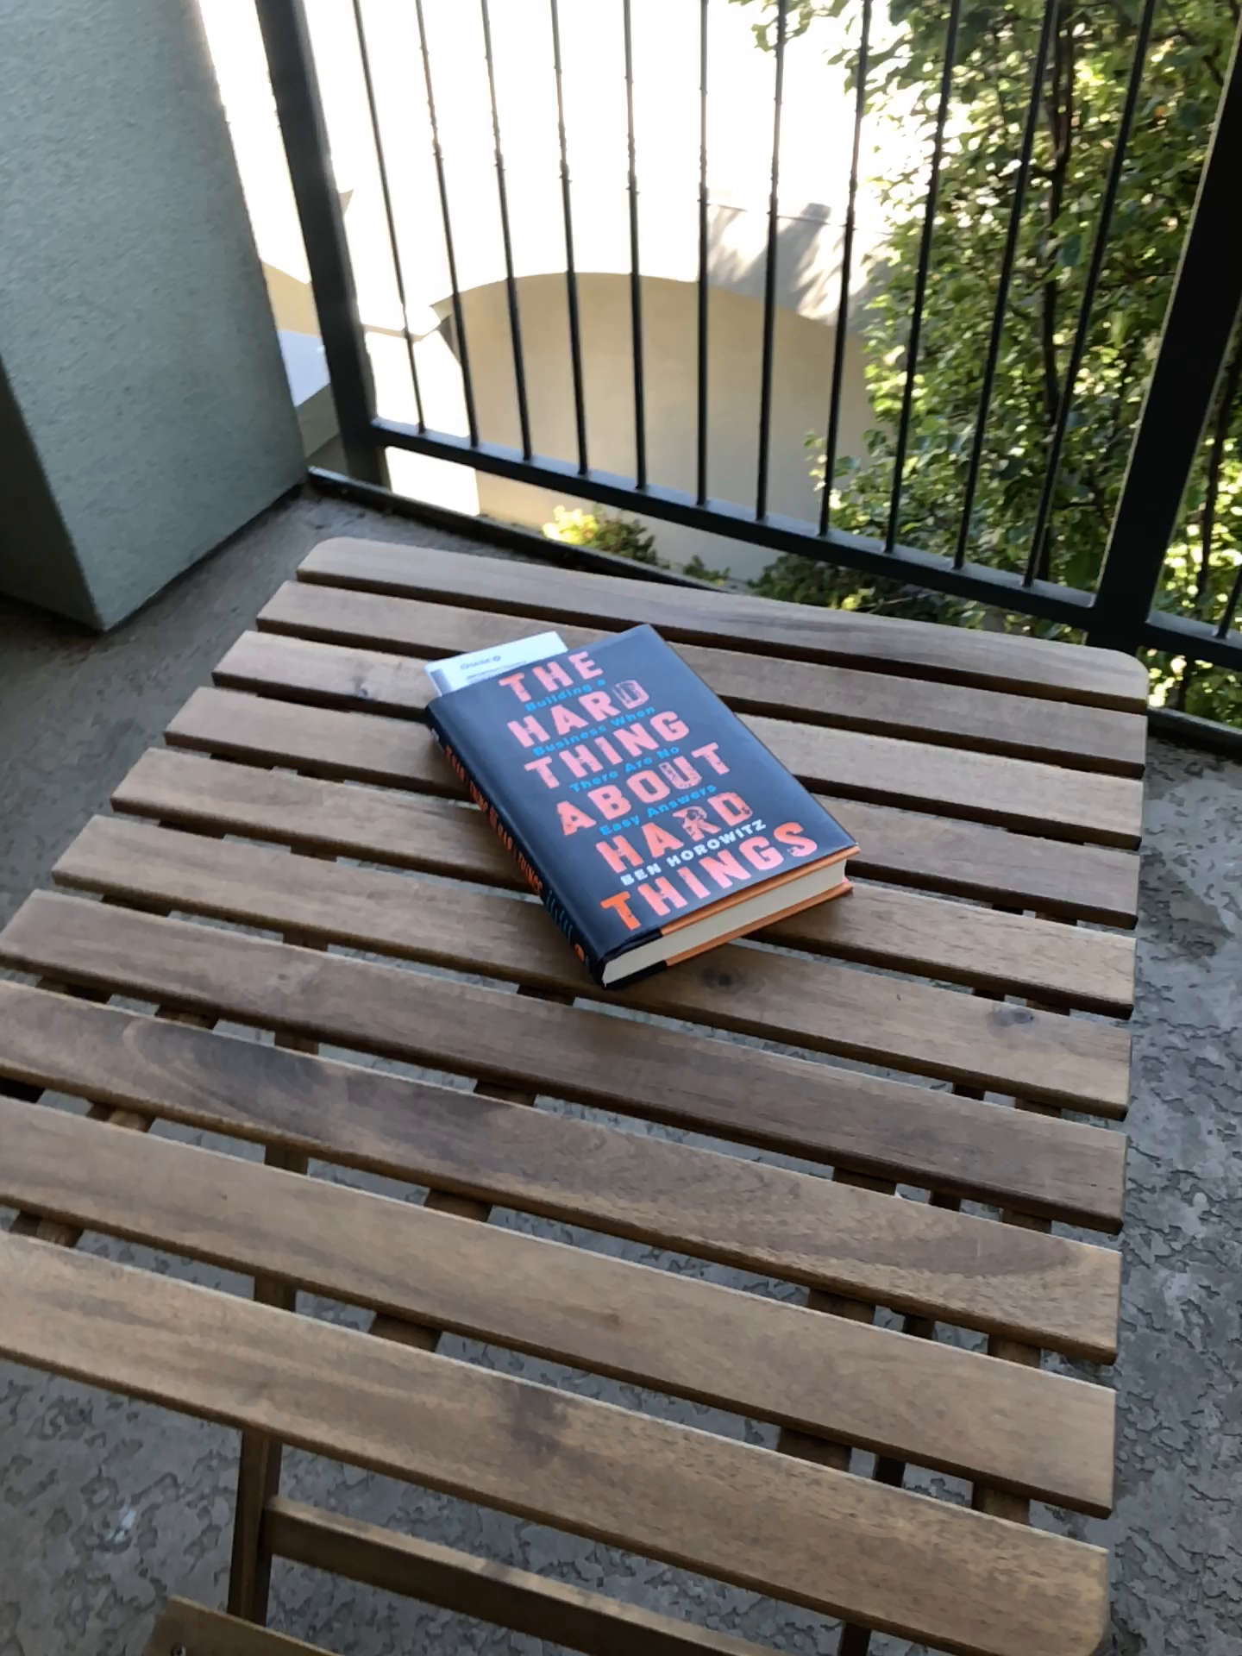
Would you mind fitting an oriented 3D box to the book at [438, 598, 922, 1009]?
[{"bbox_3d":[0.025,-0.028,0.794,0.180,0.040,0.241,-22,48,-18],"label":"book"}]
